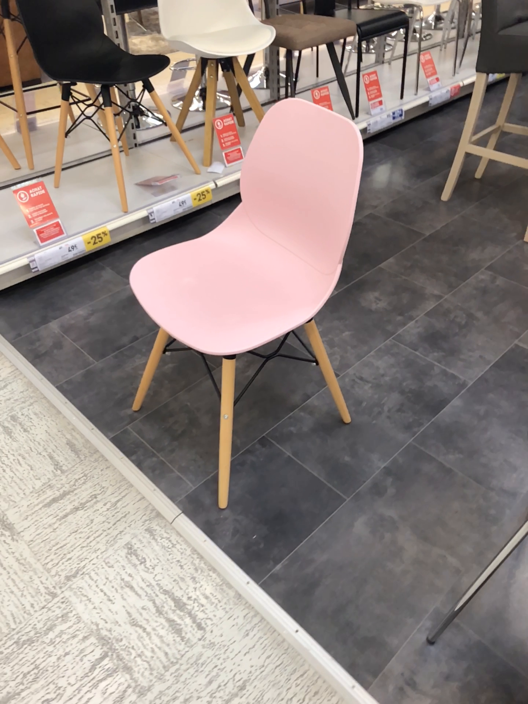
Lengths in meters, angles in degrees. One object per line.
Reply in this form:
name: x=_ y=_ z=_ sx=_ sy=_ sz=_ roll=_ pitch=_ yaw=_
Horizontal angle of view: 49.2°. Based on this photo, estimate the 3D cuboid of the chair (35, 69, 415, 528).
chair: x=-0.083 y=-0.143 z=1.439 sx=0.552 sy=0.846 sz=0.552 roll=-28 pitch=47 yaw=-28
